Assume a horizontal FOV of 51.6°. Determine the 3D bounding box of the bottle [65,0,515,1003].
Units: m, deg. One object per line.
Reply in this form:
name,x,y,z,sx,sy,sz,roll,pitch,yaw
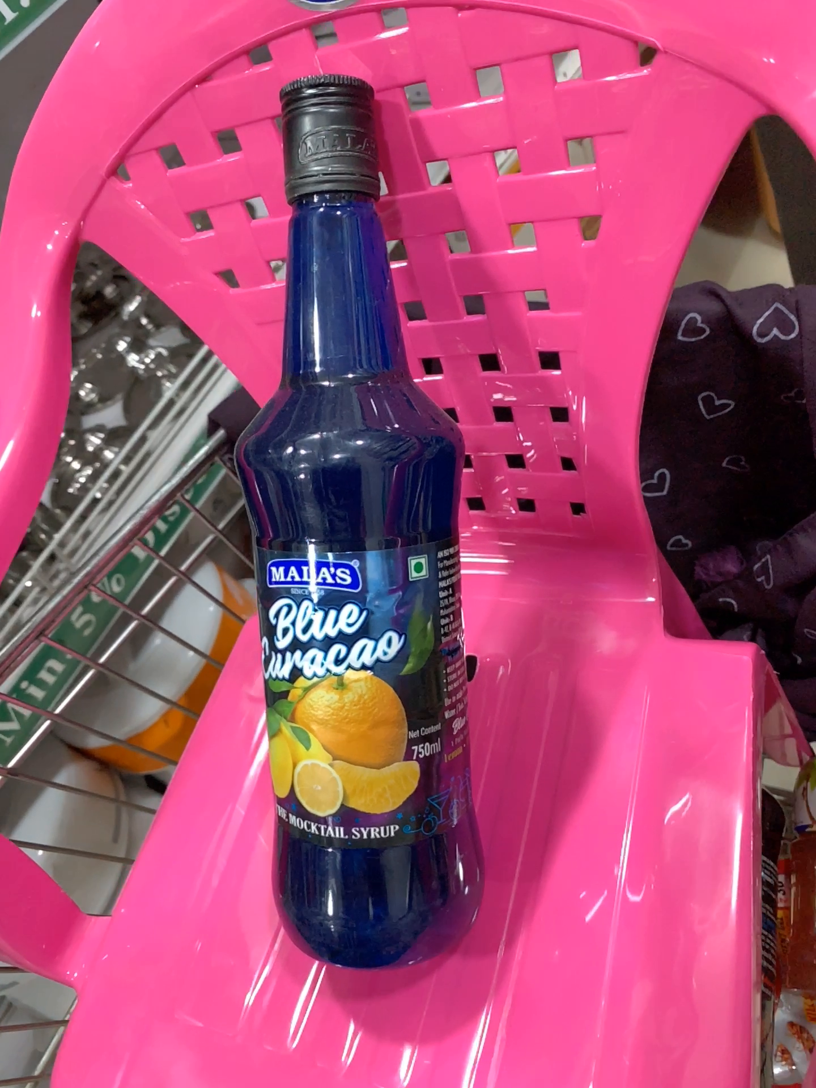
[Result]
bottle,-0.025,-0.007,0.269,0.080,0.270,0.080,-5,12,1
